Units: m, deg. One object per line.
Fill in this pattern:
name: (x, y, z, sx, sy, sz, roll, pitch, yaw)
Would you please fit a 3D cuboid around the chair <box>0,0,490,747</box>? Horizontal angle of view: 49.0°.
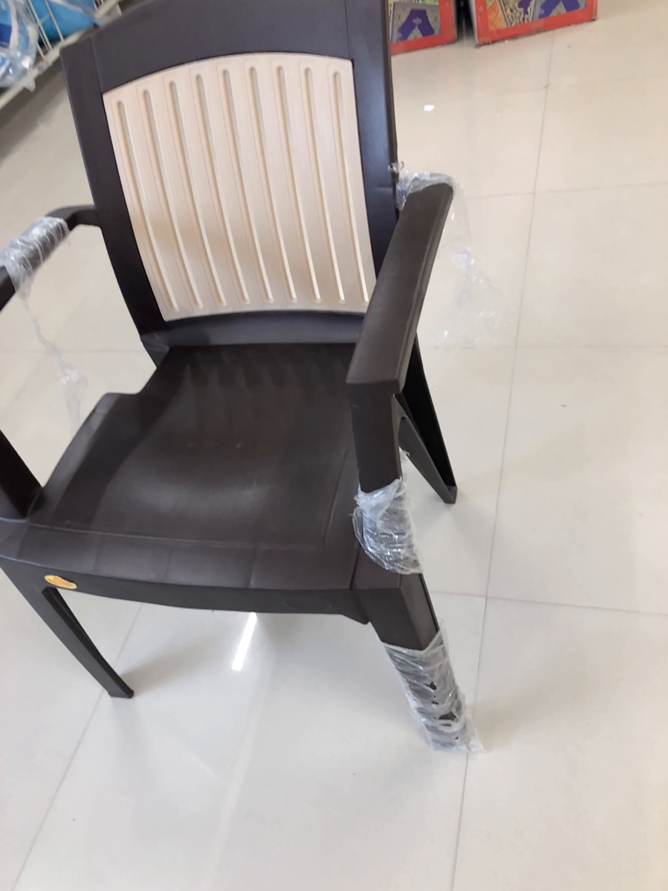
chair: (-0.159, -0.126, 0.815, 0.600, 0.557, 0.654, -2, 48, 16)
